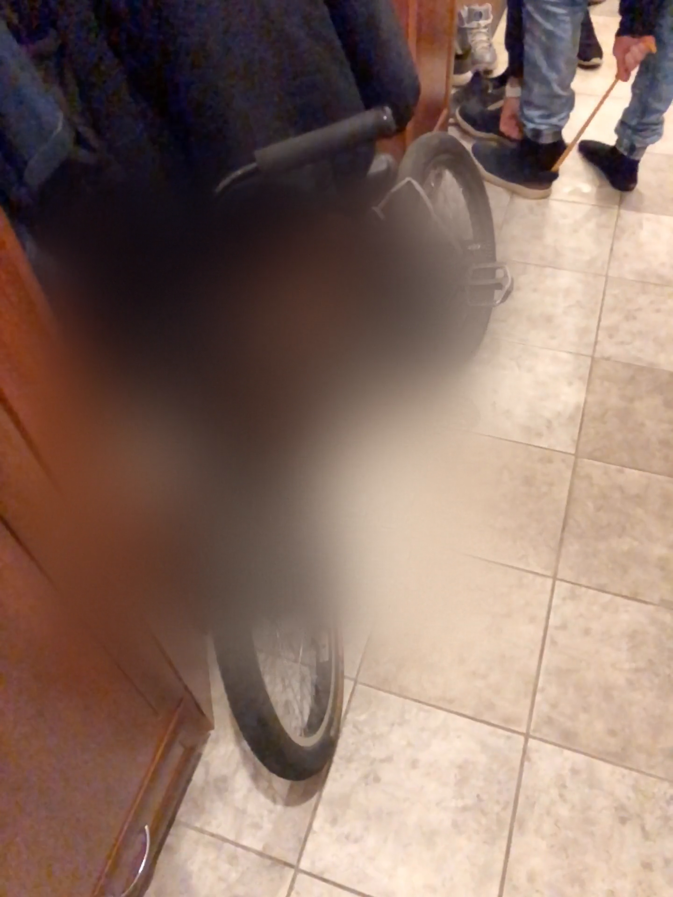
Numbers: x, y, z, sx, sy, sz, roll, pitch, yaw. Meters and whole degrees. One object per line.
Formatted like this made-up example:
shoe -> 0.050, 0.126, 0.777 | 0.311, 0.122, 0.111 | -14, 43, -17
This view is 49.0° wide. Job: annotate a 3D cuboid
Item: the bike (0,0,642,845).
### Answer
bike -> 0.044, -0.263, 1.191 | 0.526, 0.854, 1.357 | 15, 52, 15
